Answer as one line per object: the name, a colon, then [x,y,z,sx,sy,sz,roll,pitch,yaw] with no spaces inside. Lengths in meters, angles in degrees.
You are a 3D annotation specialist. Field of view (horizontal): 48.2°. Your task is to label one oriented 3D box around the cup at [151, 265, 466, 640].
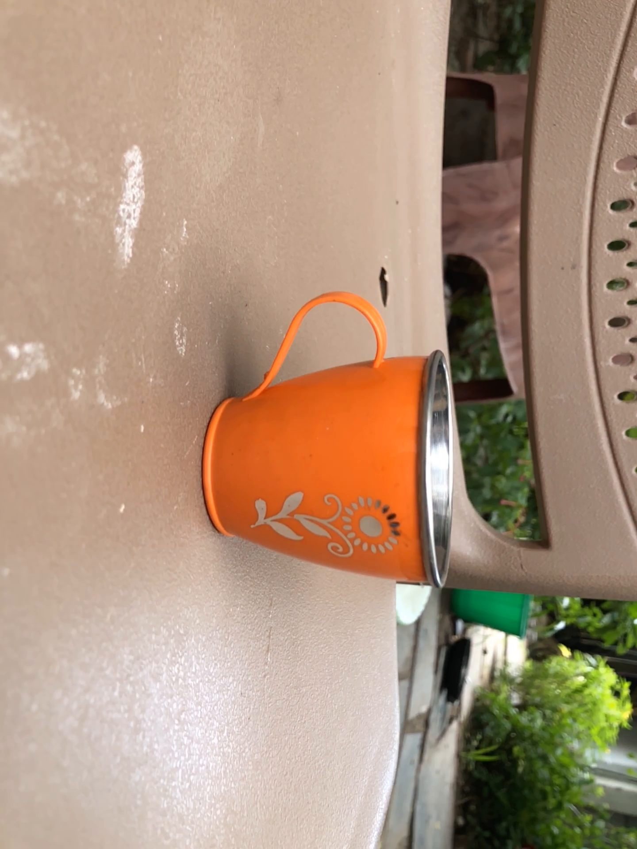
cup: [0.004,0.005,0.189,0.050,0.060,0.080,-57,146,-53]
